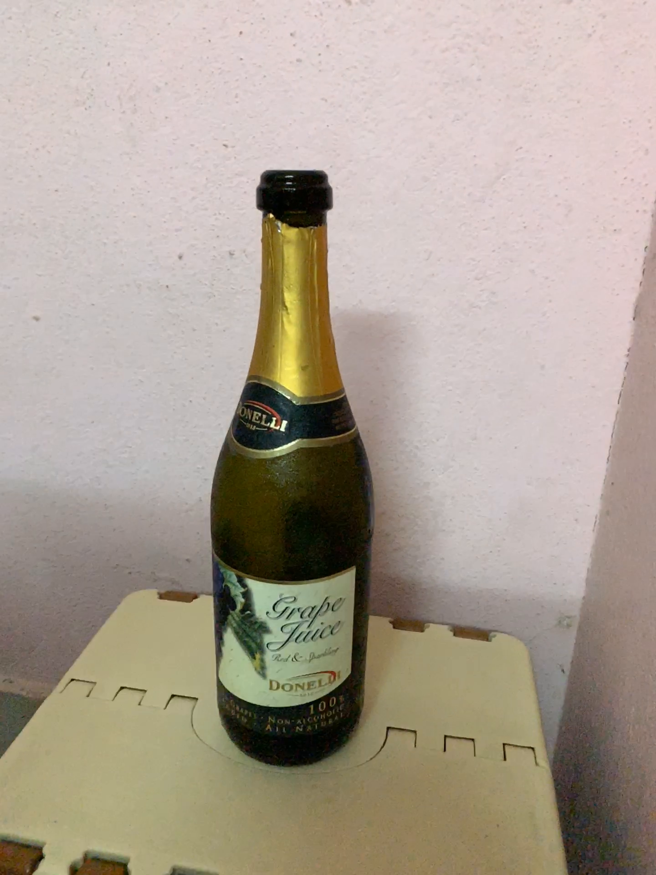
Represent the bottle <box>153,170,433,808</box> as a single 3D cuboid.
[{"bbox_3d":[-0.019,0.024,0.322,0.090,0.279,0.070,19,27,38],"label":"bottle"}]
